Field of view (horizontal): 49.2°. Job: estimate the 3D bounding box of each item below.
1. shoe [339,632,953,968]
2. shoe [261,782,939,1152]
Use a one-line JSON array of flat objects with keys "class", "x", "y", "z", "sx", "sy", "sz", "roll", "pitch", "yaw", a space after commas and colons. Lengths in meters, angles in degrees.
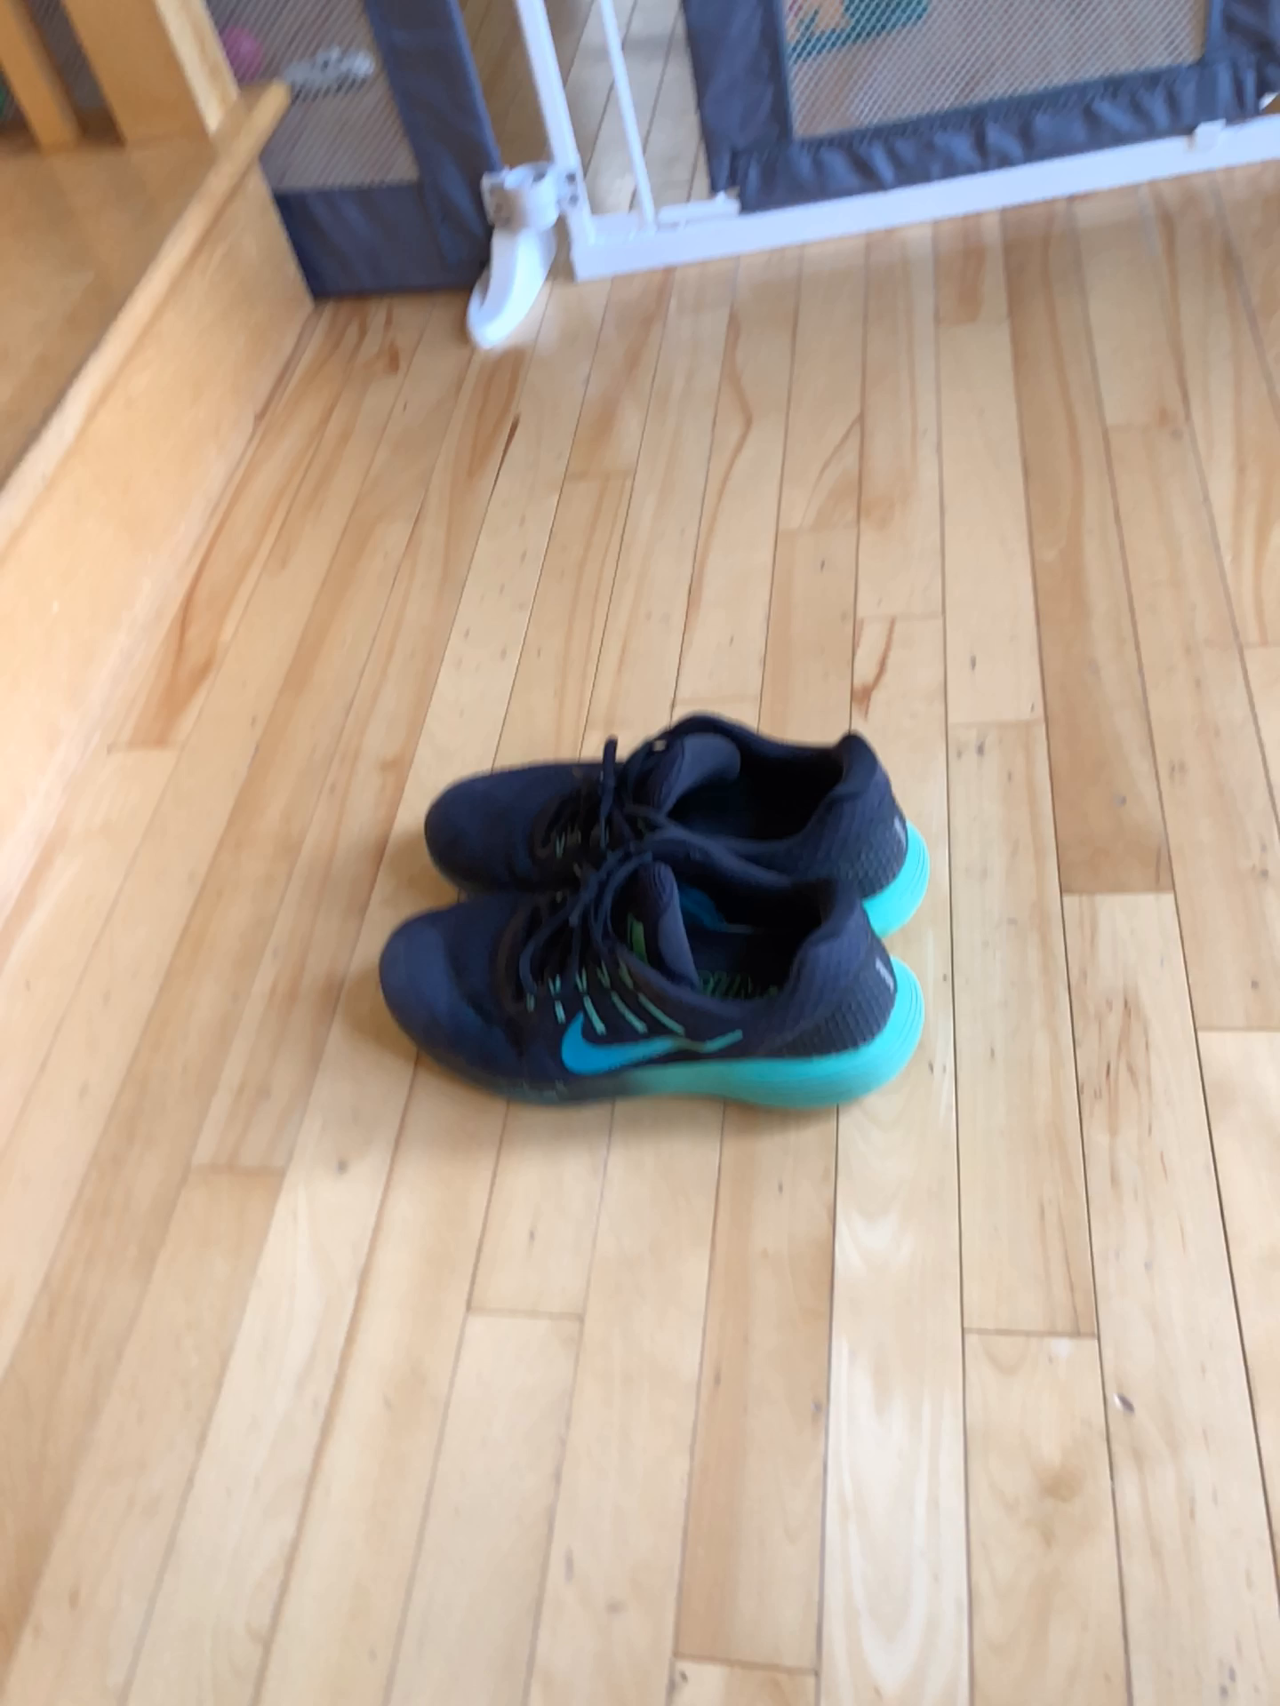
[{"class": "shoe", "x": 0.009, "y": -0.033, "z": 0.740, "sx": 0.290, "sy": 0.100, "sz": 0.120, "roll": 5, "pitch": 52, "yaw": 18}, {"class": "shoe", "x": -0.011, "y": 0.049, "z": 0.669, "sx": 0.290, "sy": 0.100, "sz": 0.120, "roll": 3, "pitch": 51, "yaw": 17}]
